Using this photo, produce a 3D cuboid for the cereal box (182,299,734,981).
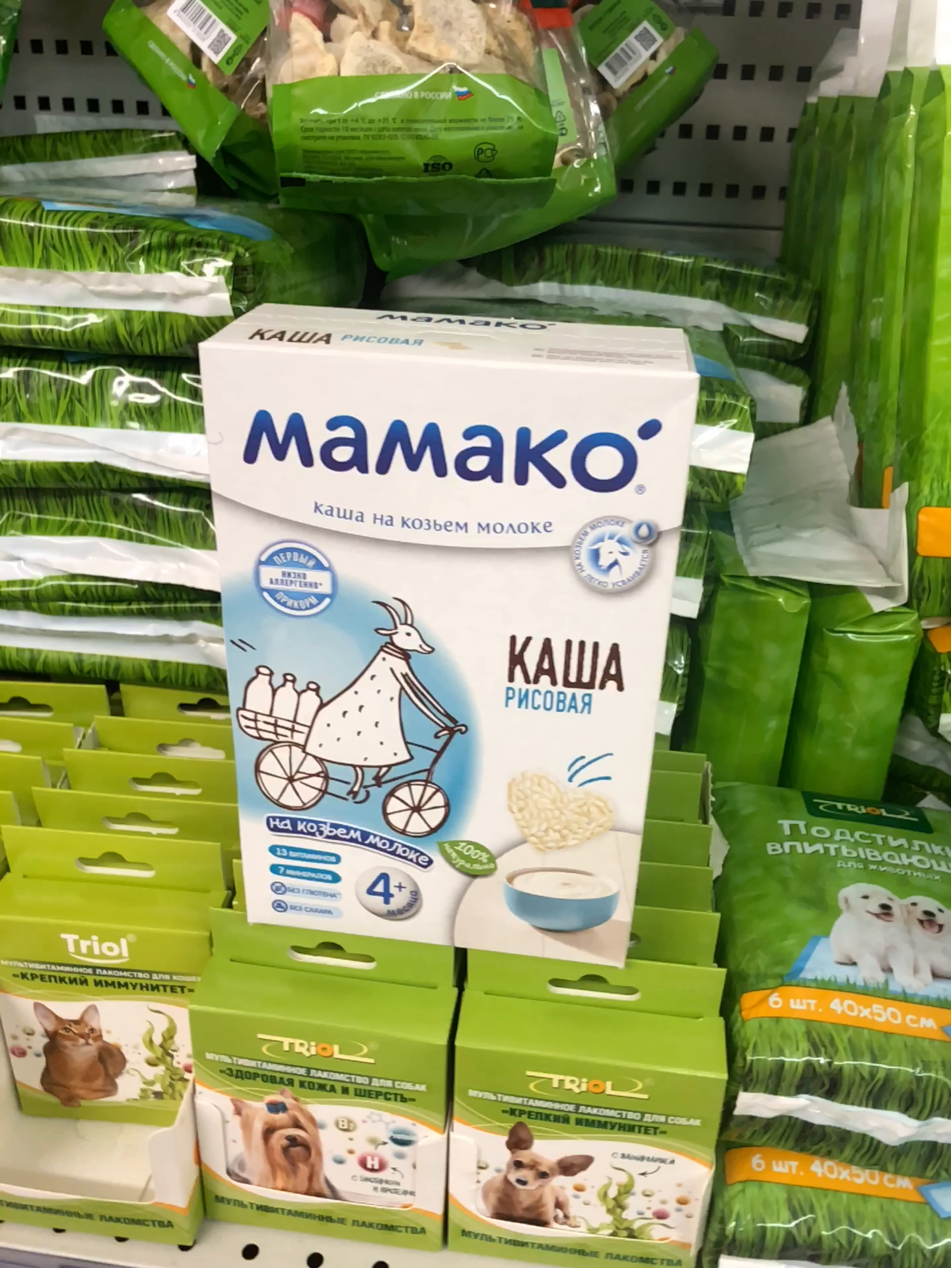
[{"bbox_3d":[-0.005,0.005,0.334,0.140,0.199,0.060,5,27,6],"label":"cereal box"}]
